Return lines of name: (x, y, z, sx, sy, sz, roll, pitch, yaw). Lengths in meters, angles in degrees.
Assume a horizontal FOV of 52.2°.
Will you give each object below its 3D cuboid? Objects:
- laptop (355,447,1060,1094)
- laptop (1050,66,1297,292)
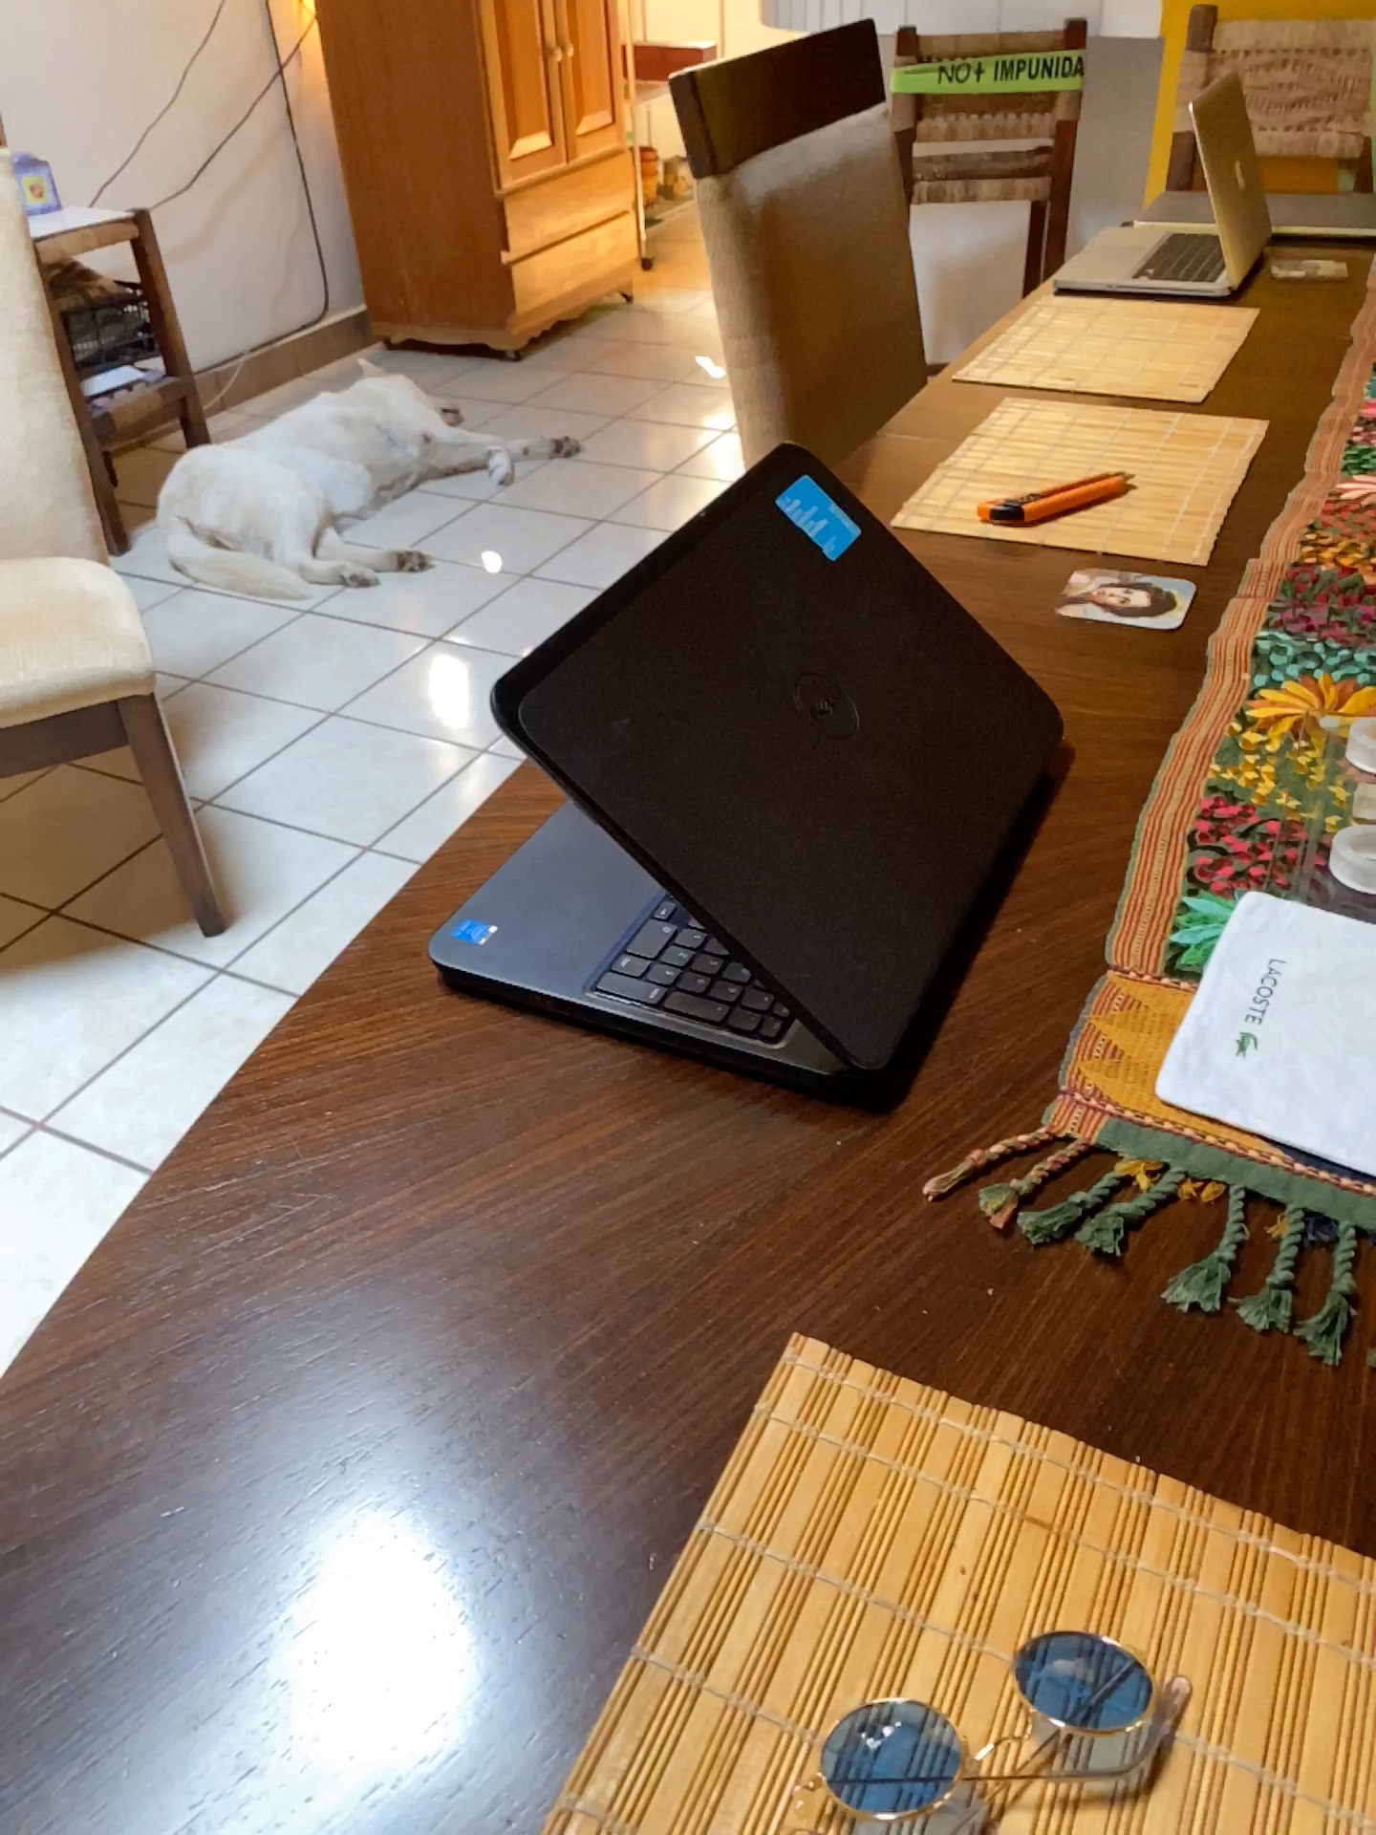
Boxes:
laptop: (0.034, -0.112, 0.782, 0.248, 0.158, 0.358, 14, 40, 22)
laptop: (0.652, -0.991, 1.876, 0.221, 0.207, 0.373, 13, 39, 21)
